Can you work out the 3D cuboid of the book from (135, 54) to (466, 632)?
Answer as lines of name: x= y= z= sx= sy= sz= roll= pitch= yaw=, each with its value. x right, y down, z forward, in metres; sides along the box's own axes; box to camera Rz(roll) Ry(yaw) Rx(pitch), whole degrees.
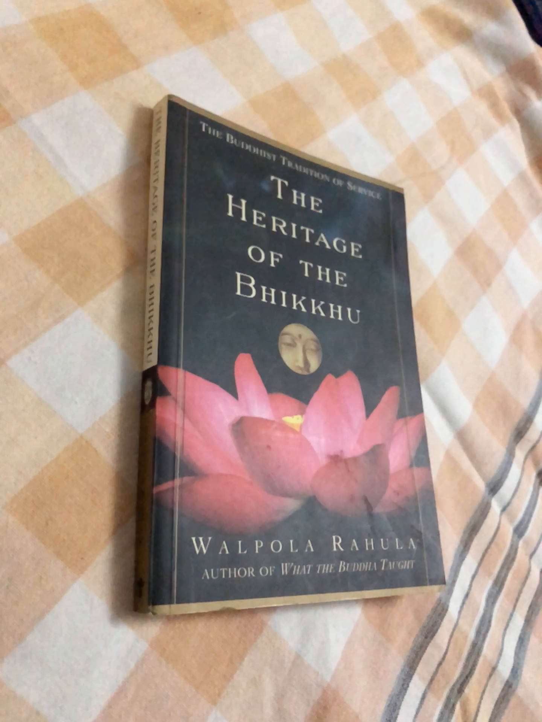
book: x=0.014 y=-0.009 z=0.268 sx=0.141 sy=0.030 sz=0.220 roll=10 pitch=67 yaw=-35
